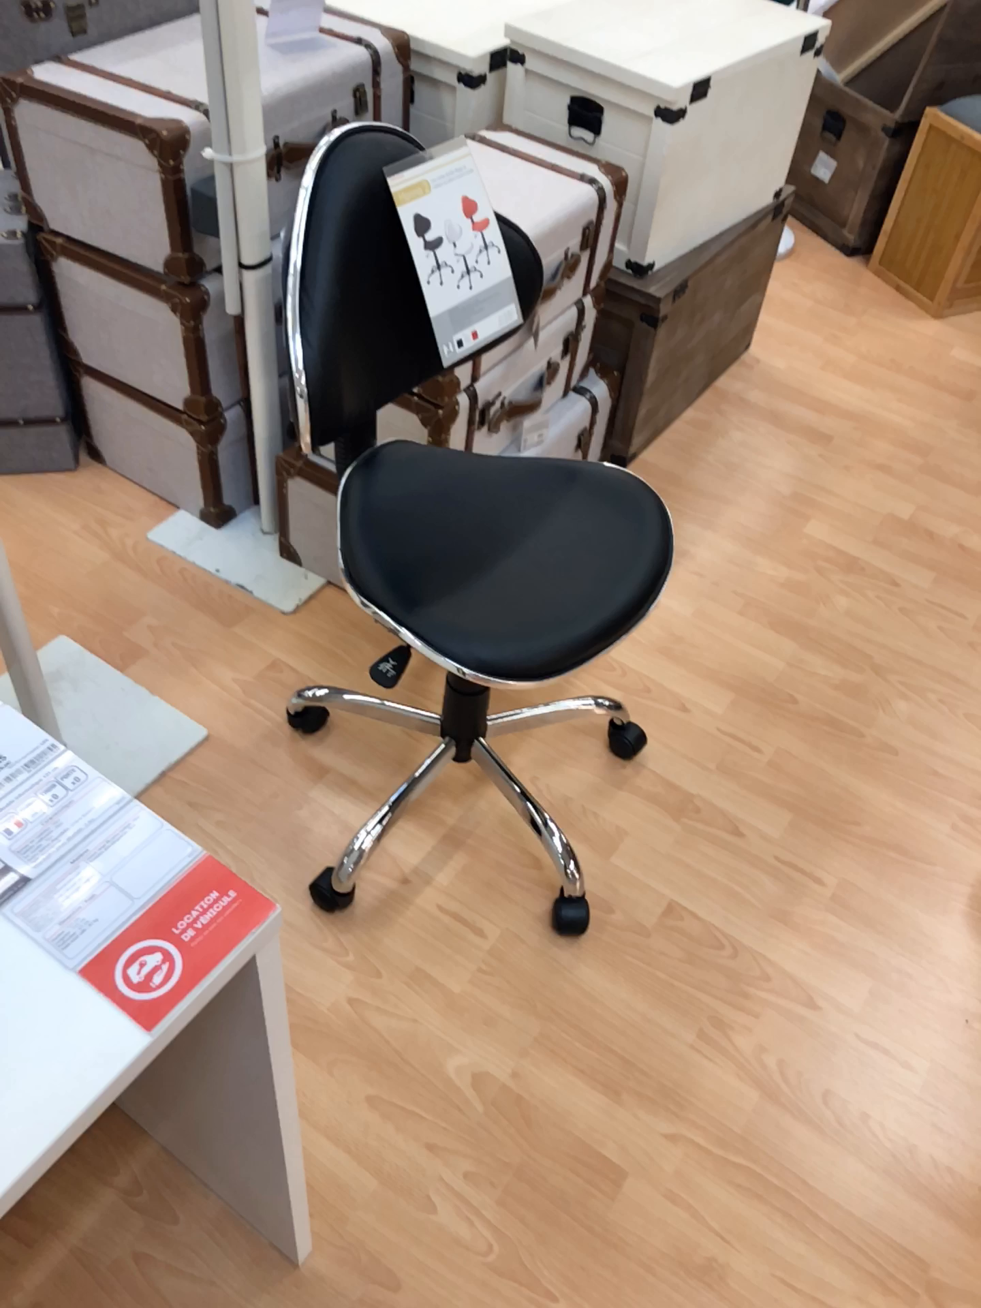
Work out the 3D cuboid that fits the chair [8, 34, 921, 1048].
[{"bbox_3d":[-0.014,-0.120,1.277,0.610,0.854,0.604,25,48,16],"label":"chair"}]
